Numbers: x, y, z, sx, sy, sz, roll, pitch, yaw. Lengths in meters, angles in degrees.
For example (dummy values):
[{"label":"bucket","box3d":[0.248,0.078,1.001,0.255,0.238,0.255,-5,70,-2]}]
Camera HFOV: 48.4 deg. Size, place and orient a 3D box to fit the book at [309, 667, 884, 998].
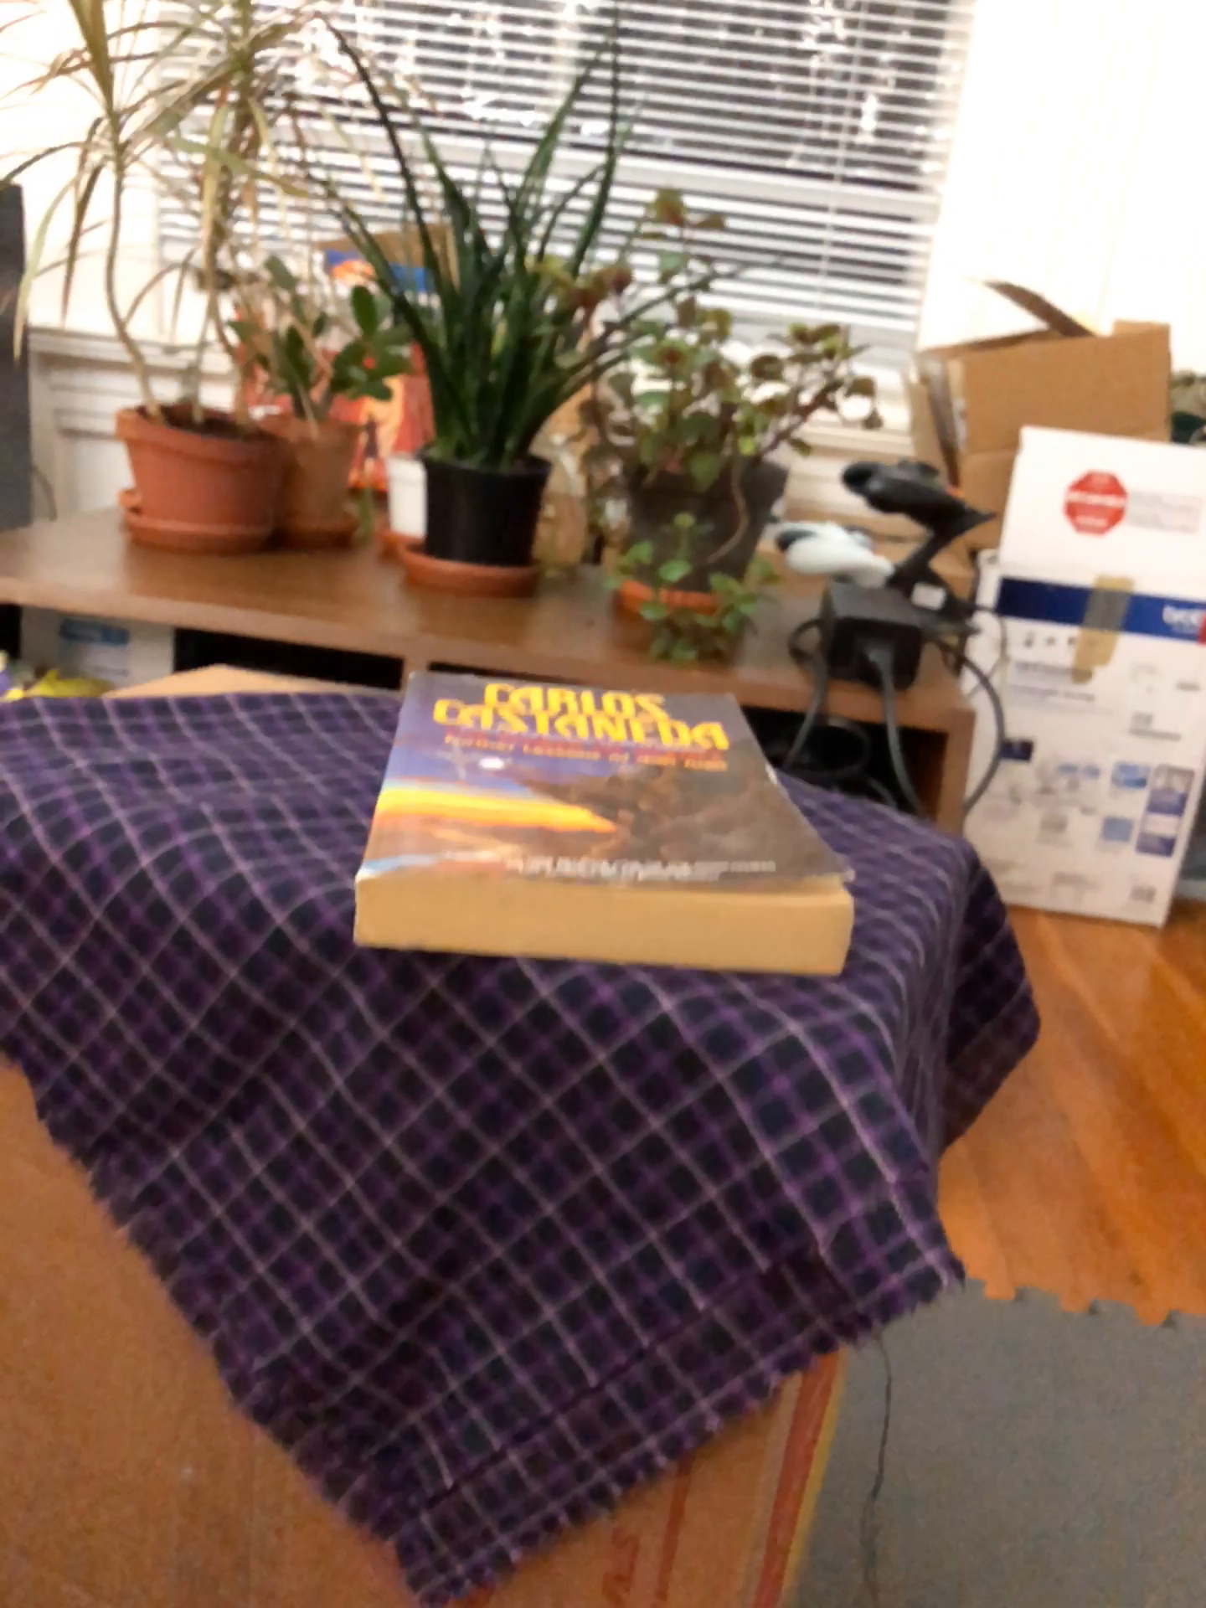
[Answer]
[{"label":"book","box3d":[-0.007,-0.002,0.456,0.150,0.020,0.221,5,20,-5]}]
